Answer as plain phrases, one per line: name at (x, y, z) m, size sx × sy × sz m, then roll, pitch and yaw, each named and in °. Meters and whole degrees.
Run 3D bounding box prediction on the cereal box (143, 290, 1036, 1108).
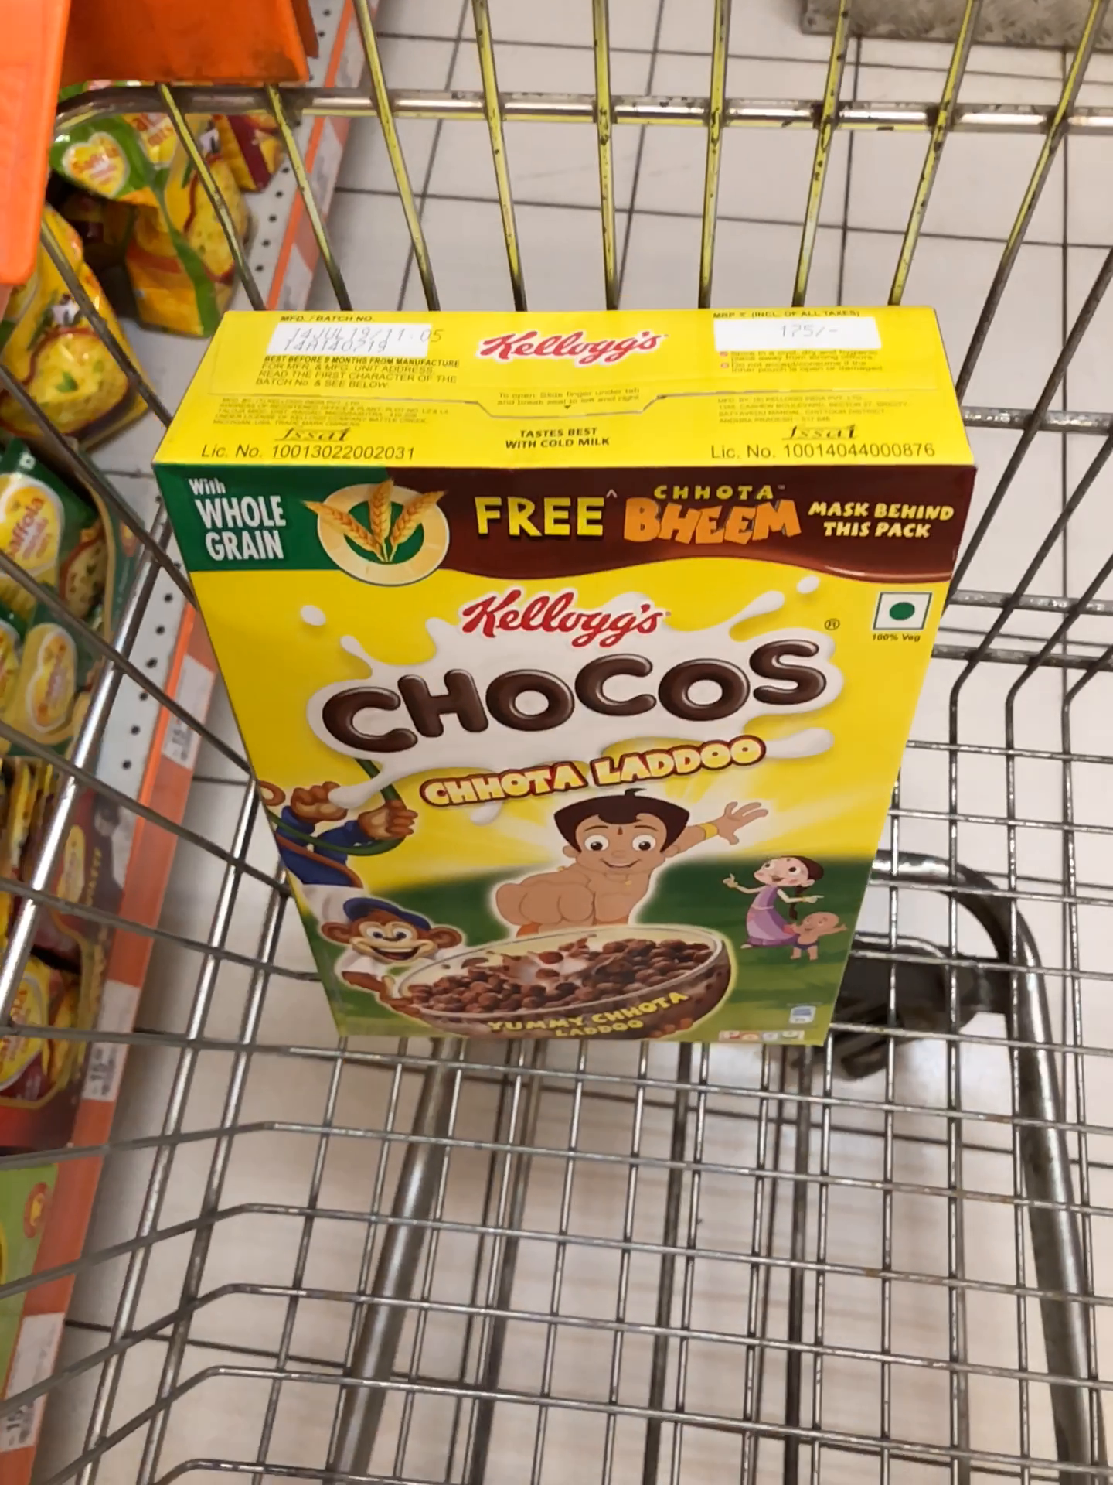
cereal box at (0.012, 0.007, 0.365) m, size 0.180 × 0.249 × 0.080 m, roll 0°, pitch 45°, yaw 4°
